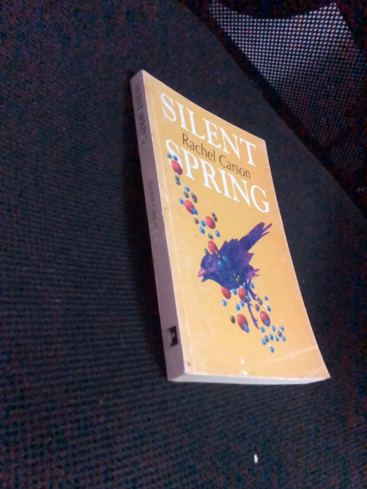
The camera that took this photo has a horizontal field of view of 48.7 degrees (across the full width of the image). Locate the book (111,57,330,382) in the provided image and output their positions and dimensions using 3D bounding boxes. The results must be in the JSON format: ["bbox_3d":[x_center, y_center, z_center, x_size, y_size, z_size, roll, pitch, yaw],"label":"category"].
[{"bbox_3d":[0.025,-0.016,0.301,0.151,0.030,0.220,15,56,-38],"label":"book"}]
